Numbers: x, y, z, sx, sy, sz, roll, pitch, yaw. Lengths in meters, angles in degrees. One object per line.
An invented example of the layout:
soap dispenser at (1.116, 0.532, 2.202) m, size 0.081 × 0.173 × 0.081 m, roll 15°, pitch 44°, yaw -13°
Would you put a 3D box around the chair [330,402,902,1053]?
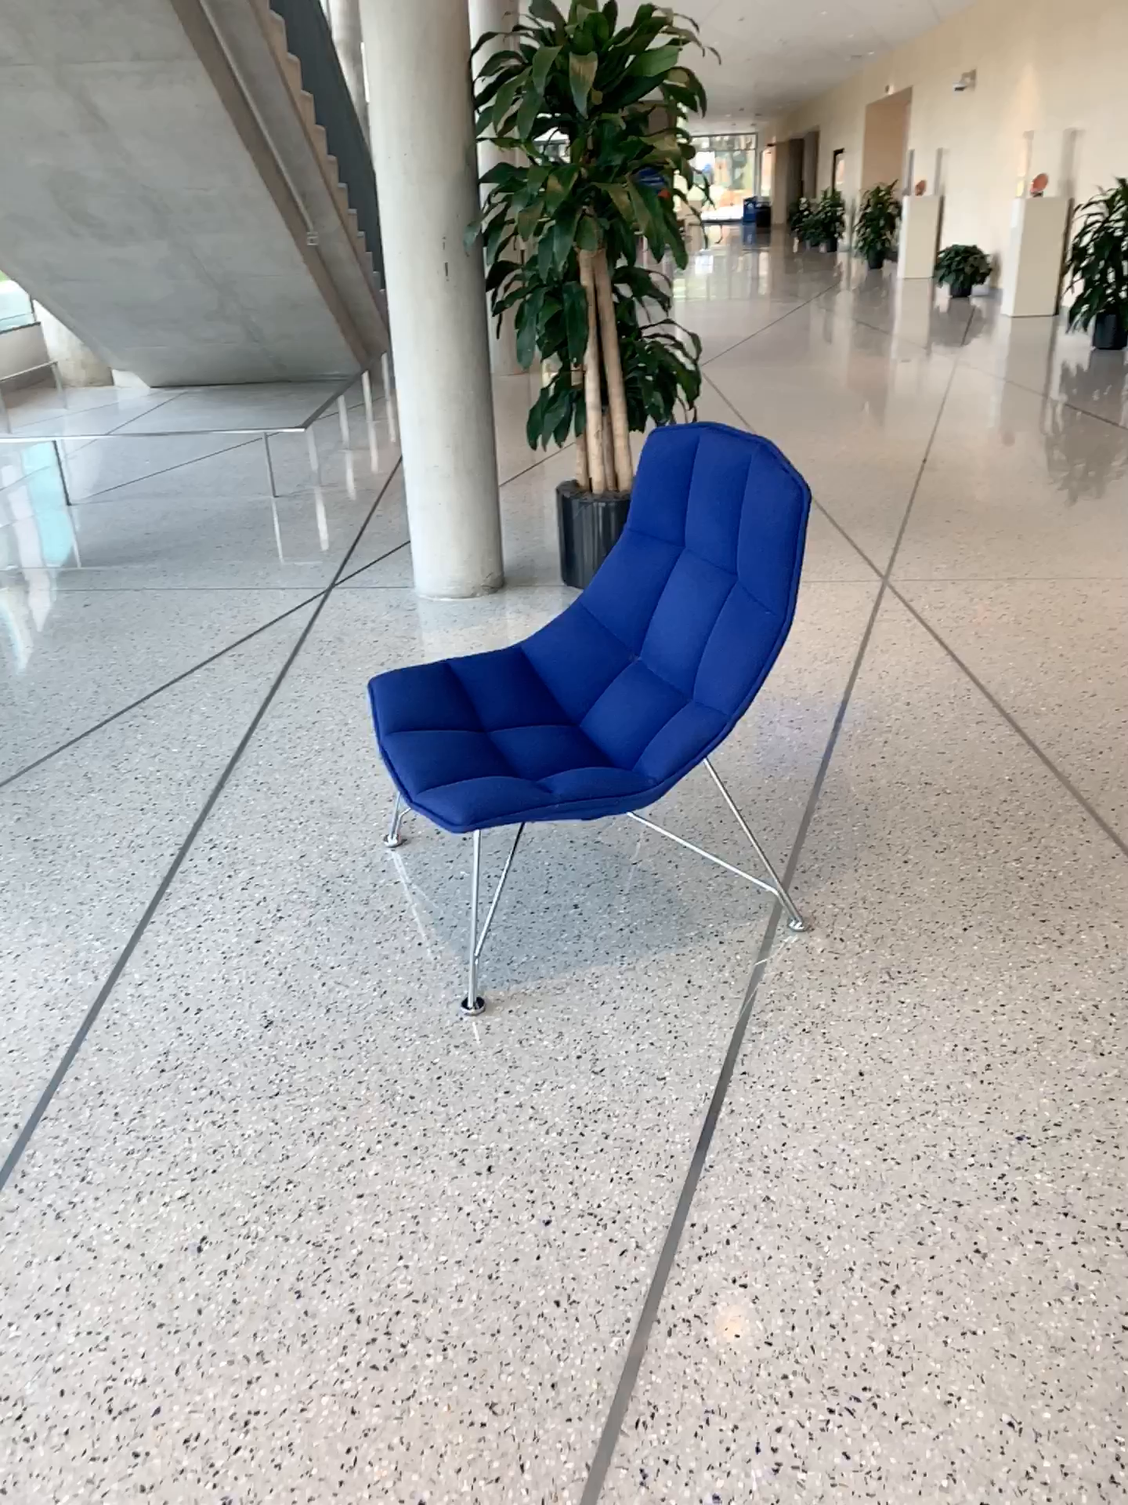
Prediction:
chair at (0.057, -0.125, 2.343) m, size 0.829 × 0.964 × 0.803 m, roll -10°, pitch 26°, yaw -16°
